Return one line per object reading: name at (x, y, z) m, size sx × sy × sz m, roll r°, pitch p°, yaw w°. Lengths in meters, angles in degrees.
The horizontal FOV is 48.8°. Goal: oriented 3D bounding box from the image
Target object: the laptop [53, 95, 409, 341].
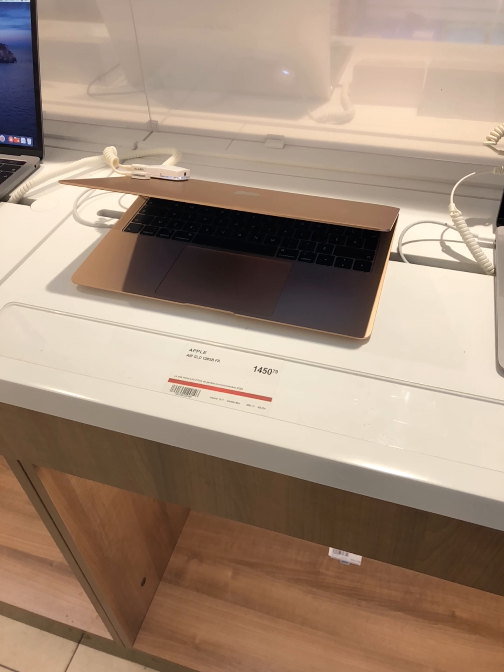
laptop at (-0.008, -0.141, 0.564) m, size 0.298 × 0.104 × 0.226 m, roll 12°, pitch 45°, yaw 17°
